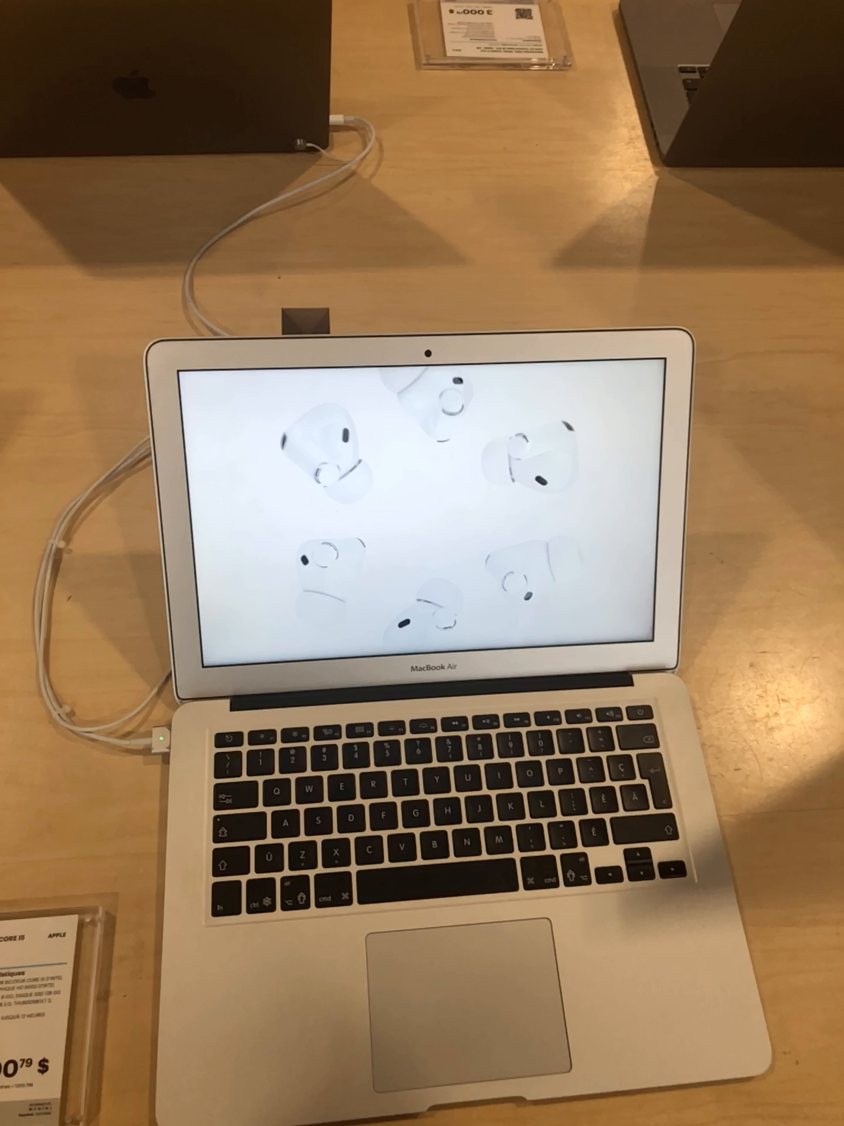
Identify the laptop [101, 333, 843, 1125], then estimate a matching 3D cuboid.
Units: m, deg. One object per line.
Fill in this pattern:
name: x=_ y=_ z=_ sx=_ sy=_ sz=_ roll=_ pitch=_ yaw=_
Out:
laptop: x=0.014 y=0.069 z=0.493 sx=0.302 sy=0.137 sz=0.371 roll=-3 pitch=62 yaw=-6
